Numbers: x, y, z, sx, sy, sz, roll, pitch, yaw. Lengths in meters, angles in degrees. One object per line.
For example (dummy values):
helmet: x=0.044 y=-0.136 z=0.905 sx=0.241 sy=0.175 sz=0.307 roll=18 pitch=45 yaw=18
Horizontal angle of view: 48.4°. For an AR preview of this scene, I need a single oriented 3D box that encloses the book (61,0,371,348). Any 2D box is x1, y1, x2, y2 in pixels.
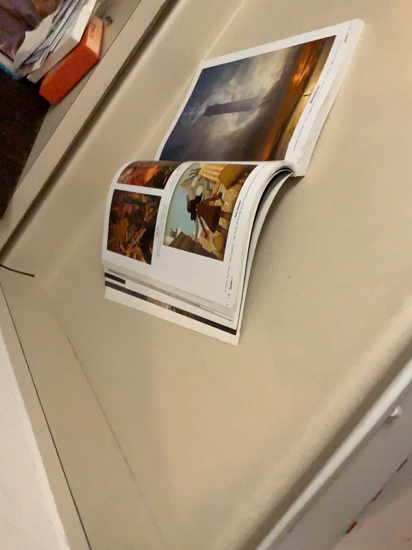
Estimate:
book: x=-0.006 y=-0.162 z=0.641 sx=0.320 sy=0.070 sz=0.450 roll=13 pitch=77 yaw=47
